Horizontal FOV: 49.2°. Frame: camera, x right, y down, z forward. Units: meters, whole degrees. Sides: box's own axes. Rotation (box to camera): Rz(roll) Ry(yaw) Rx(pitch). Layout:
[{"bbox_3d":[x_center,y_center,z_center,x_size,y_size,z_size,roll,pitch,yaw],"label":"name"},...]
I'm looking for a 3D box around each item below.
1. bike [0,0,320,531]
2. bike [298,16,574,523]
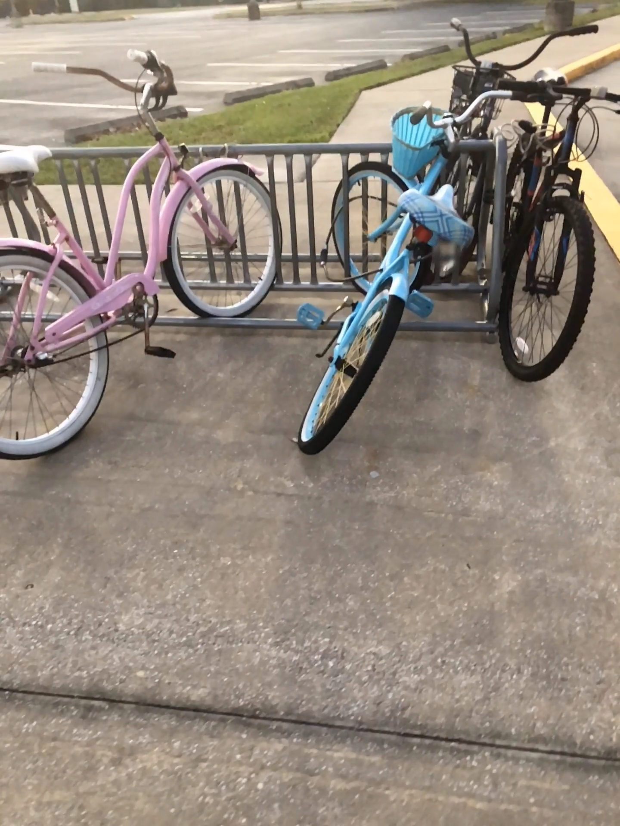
[{"bbox_3d":[-0.725,-0.748,2.323,0.773,1.146,1.613,15,44,28],"label":"bike"},{"bbox_3d":[0.308,-0.591,2.253,0.583,0.953,1.426,-1,38,5],"label":"bike"}]
